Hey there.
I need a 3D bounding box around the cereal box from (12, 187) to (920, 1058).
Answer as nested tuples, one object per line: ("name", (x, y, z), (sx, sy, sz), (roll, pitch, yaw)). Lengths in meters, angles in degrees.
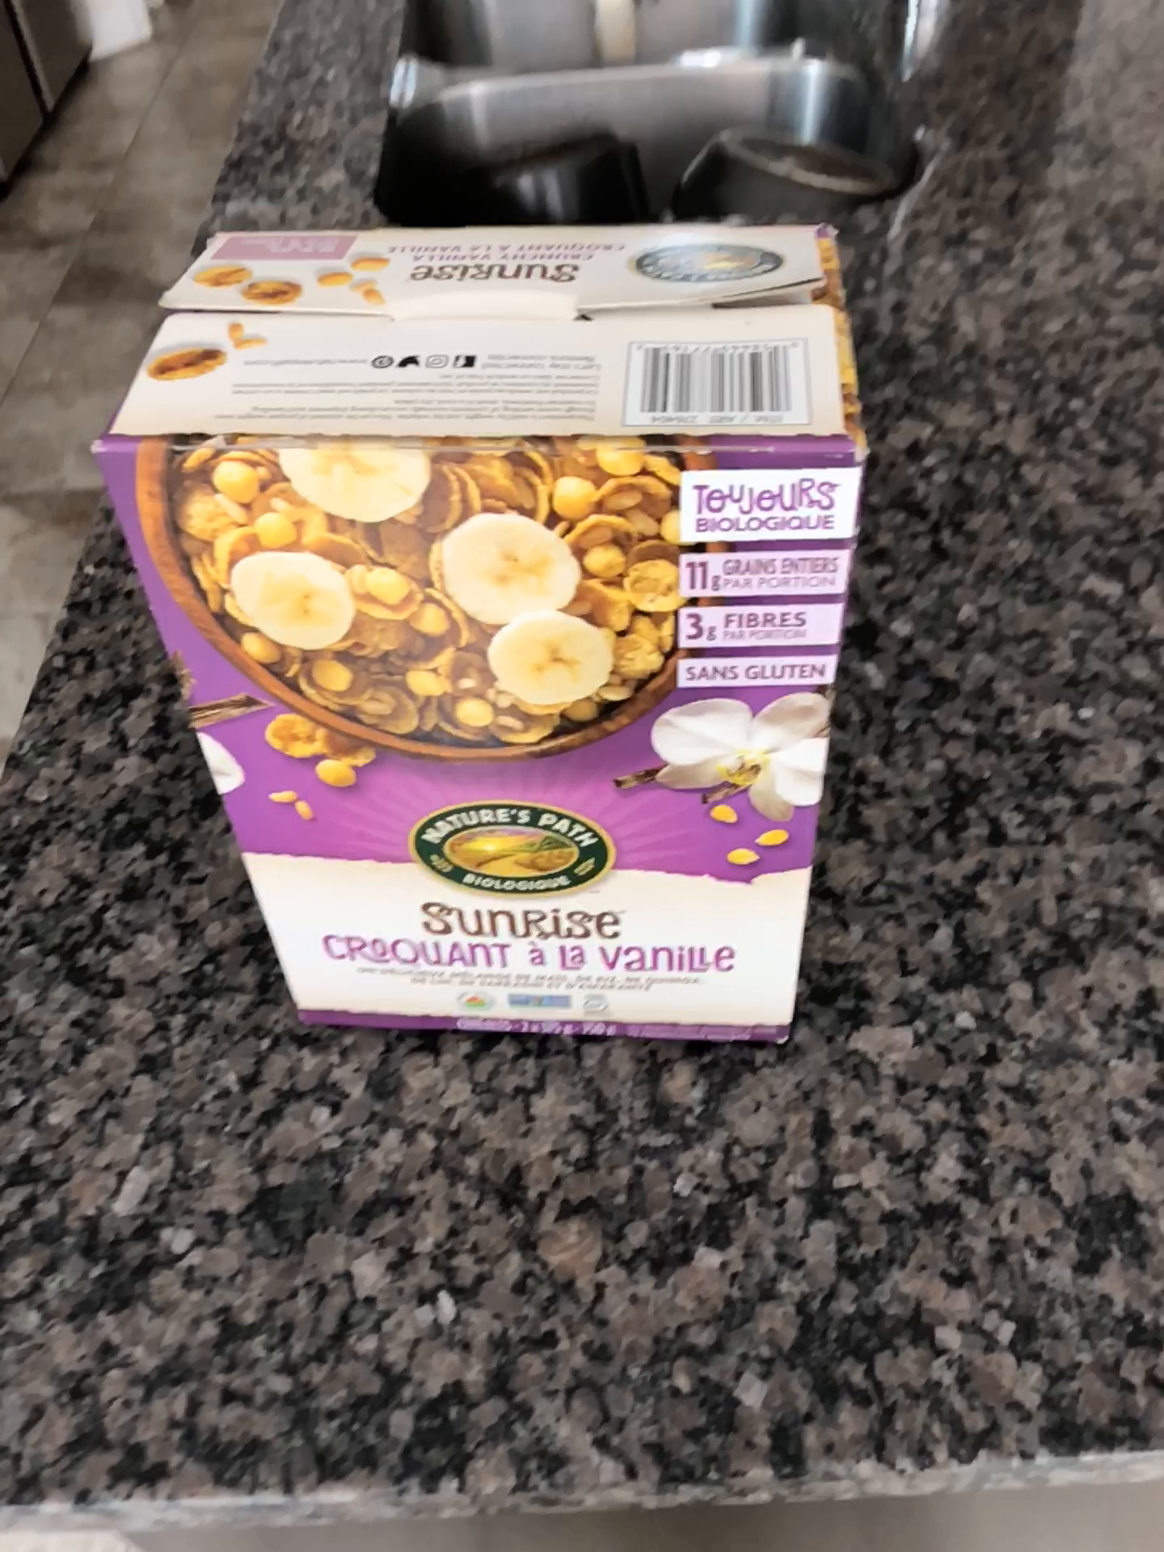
("cereal box", (-0.015, -0.029, 0.375), (0.180, 0.229, 0.110), (1, 48, 5))
